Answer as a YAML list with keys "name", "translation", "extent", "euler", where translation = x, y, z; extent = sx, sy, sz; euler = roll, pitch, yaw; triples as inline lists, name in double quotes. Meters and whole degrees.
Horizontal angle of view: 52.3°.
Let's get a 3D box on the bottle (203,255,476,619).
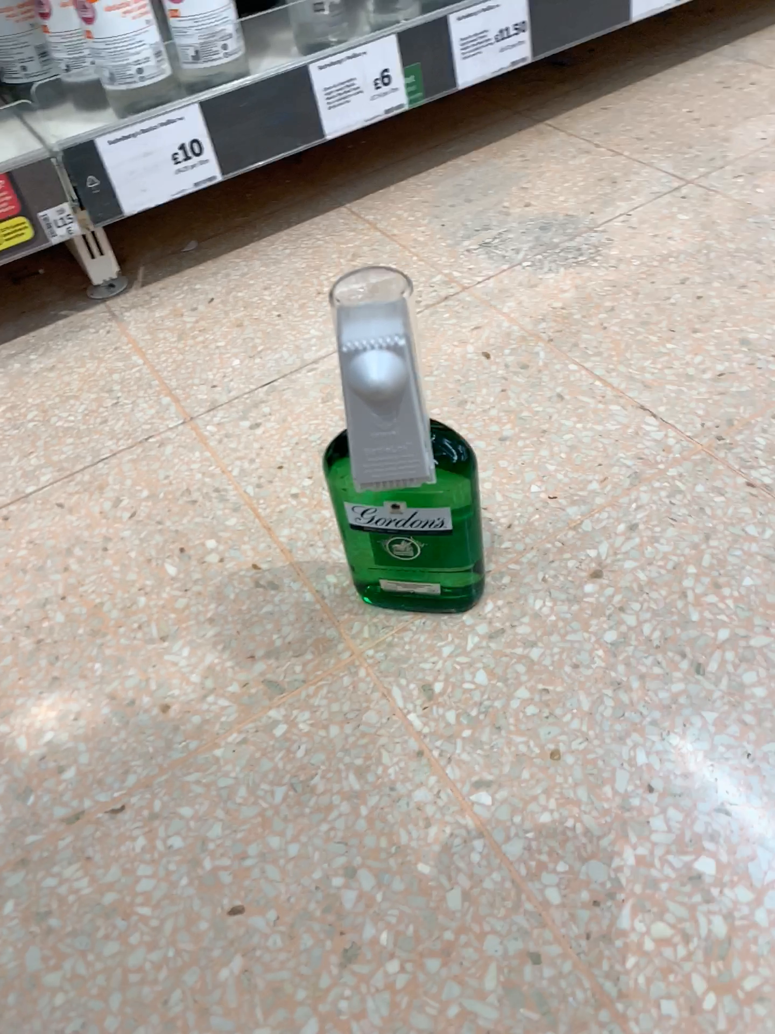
- name: "bottle"
  translation: [-0.012, -0.032, 0.426]
  extent: [0.102, 0.203, 0.056]
  euler: [3, 48, 13]
